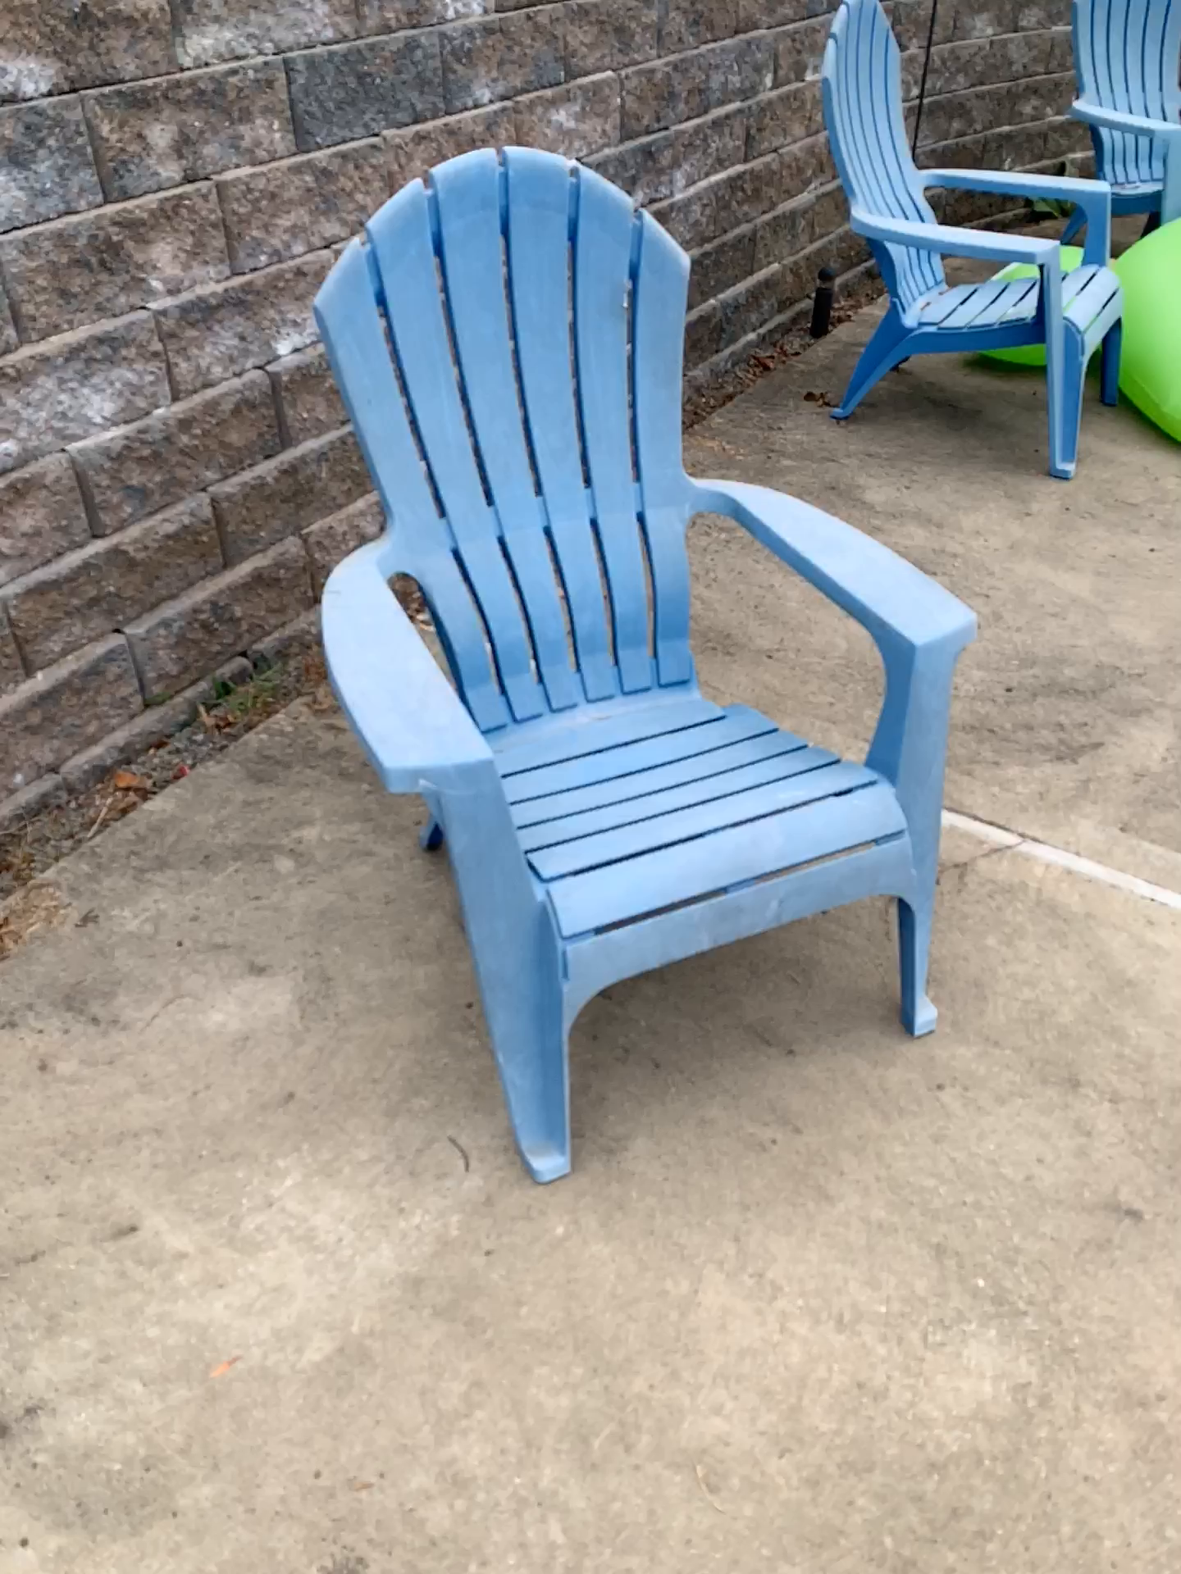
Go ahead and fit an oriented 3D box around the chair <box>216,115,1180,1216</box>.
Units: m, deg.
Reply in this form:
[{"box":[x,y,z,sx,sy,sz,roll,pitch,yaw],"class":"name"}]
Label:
[{"box":[0.063,-0.187,1.381,0.700,0.885,0.764,-14,42,-19],"class":"chair"}]
